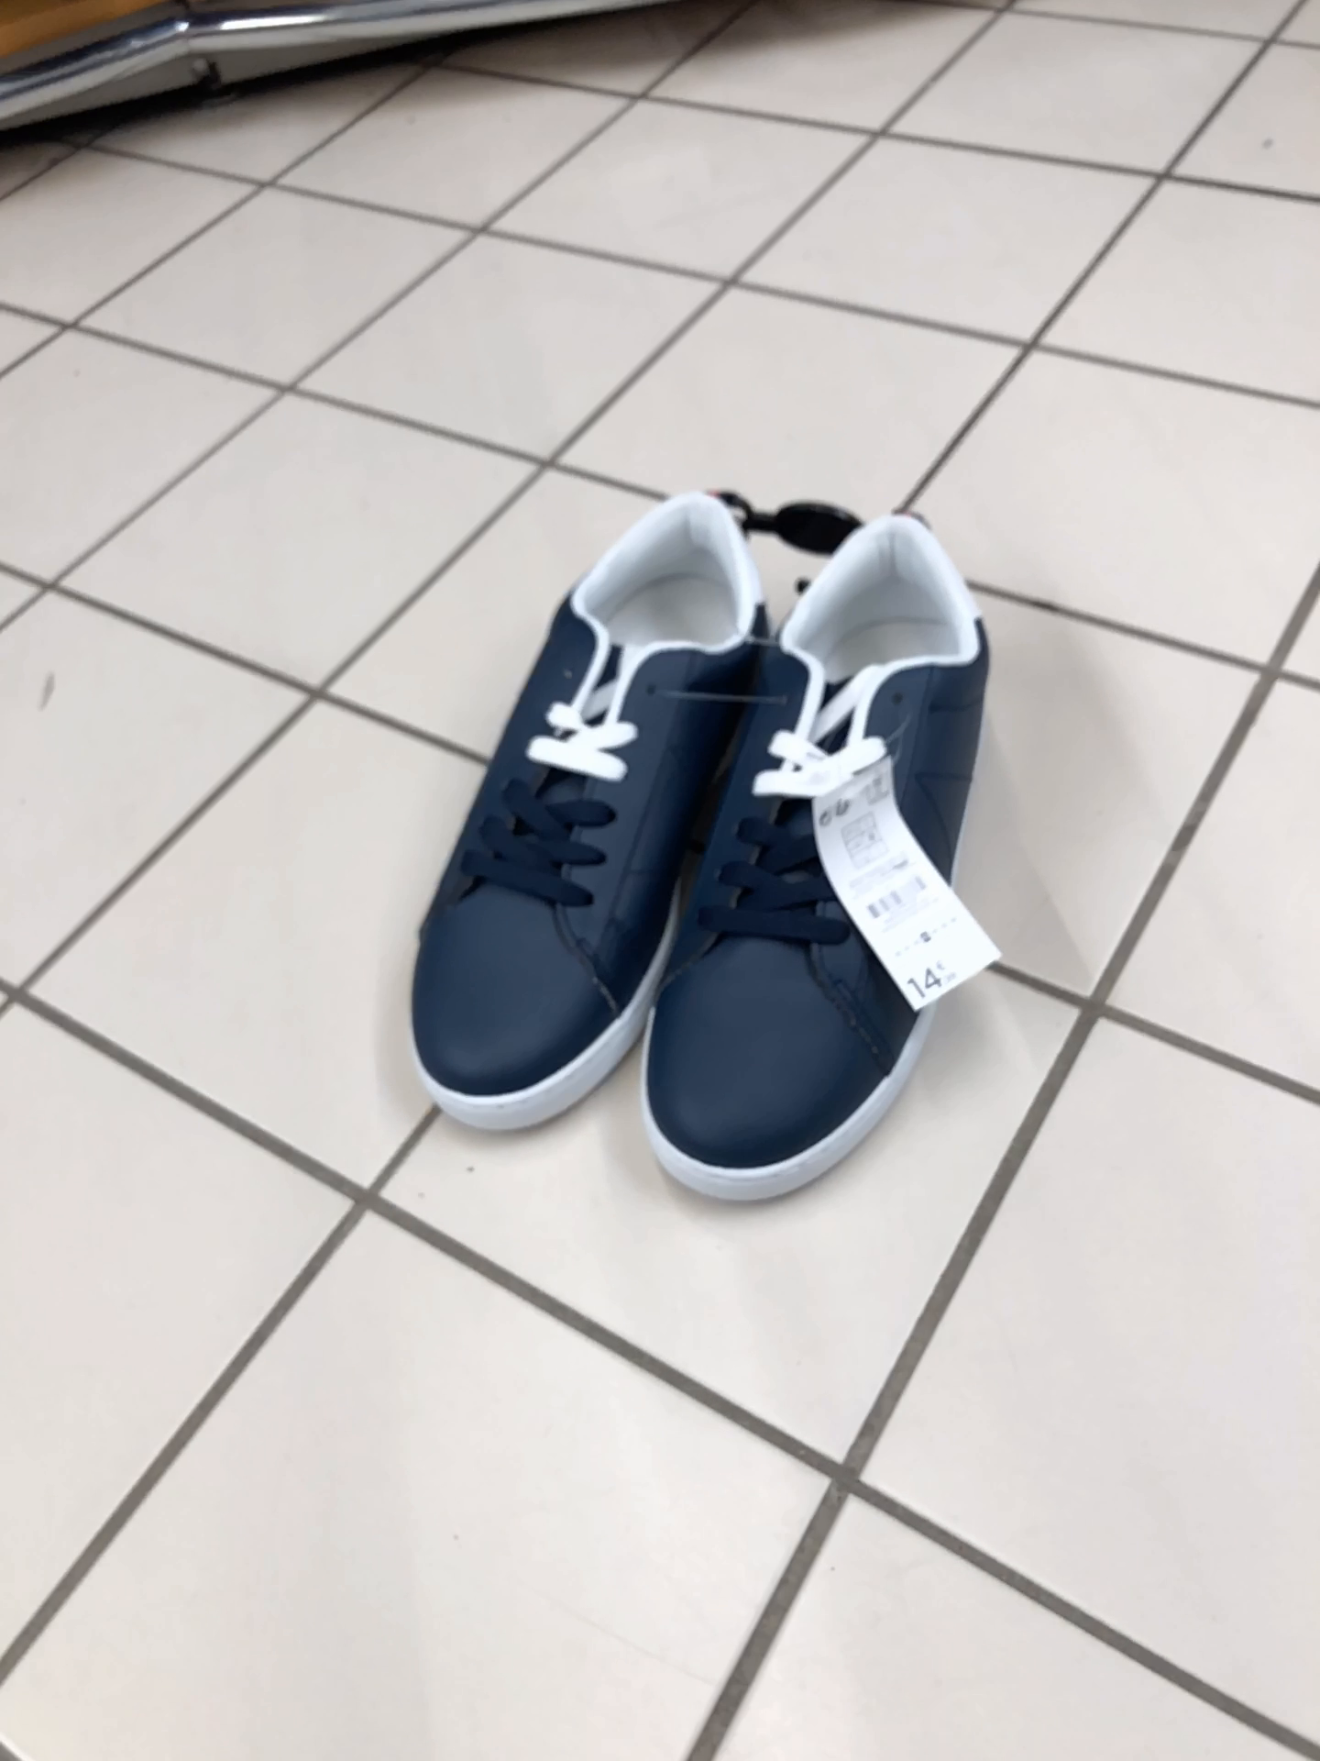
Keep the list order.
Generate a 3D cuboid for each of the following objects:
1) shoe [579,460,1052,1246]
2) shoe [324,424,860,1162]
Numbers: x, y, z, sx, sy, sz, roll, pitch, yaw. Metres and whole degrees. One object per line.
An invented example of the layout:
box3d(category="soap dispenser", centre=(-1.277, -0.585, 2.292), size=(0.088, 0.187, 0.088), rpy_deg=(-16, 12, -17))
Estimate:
box3d(category="shoe", centre=(0.073, -0.027, 0.556), size=(0.100, 0.100, 0.291), rpy_deg=(9, 53, 17))
box3d(category="shoe", centre=(-0.008, -0.050, 0.585), size=(0.100, 0.100, 0.291), rpy_deg=(11, 54, 18))
